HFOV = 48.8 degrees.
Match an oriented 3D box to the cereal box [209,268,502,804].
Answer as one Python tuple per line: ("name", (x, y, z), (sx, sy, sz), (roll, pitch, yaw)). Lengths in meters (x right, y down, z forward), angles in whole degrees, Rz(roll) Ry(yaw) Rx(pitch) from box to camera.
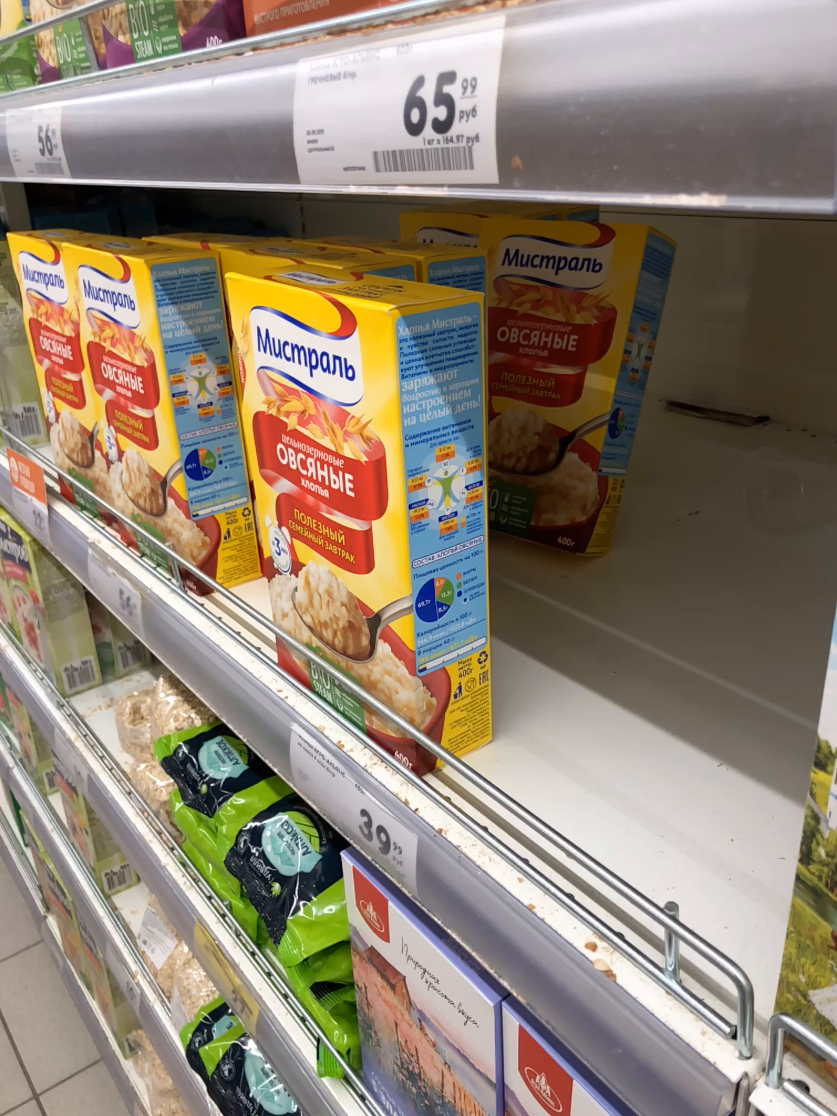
("cereal box", (-0.029, -0.018, 0.431), (0.050, 0.209, 0.150), (-18, 28, -32))
